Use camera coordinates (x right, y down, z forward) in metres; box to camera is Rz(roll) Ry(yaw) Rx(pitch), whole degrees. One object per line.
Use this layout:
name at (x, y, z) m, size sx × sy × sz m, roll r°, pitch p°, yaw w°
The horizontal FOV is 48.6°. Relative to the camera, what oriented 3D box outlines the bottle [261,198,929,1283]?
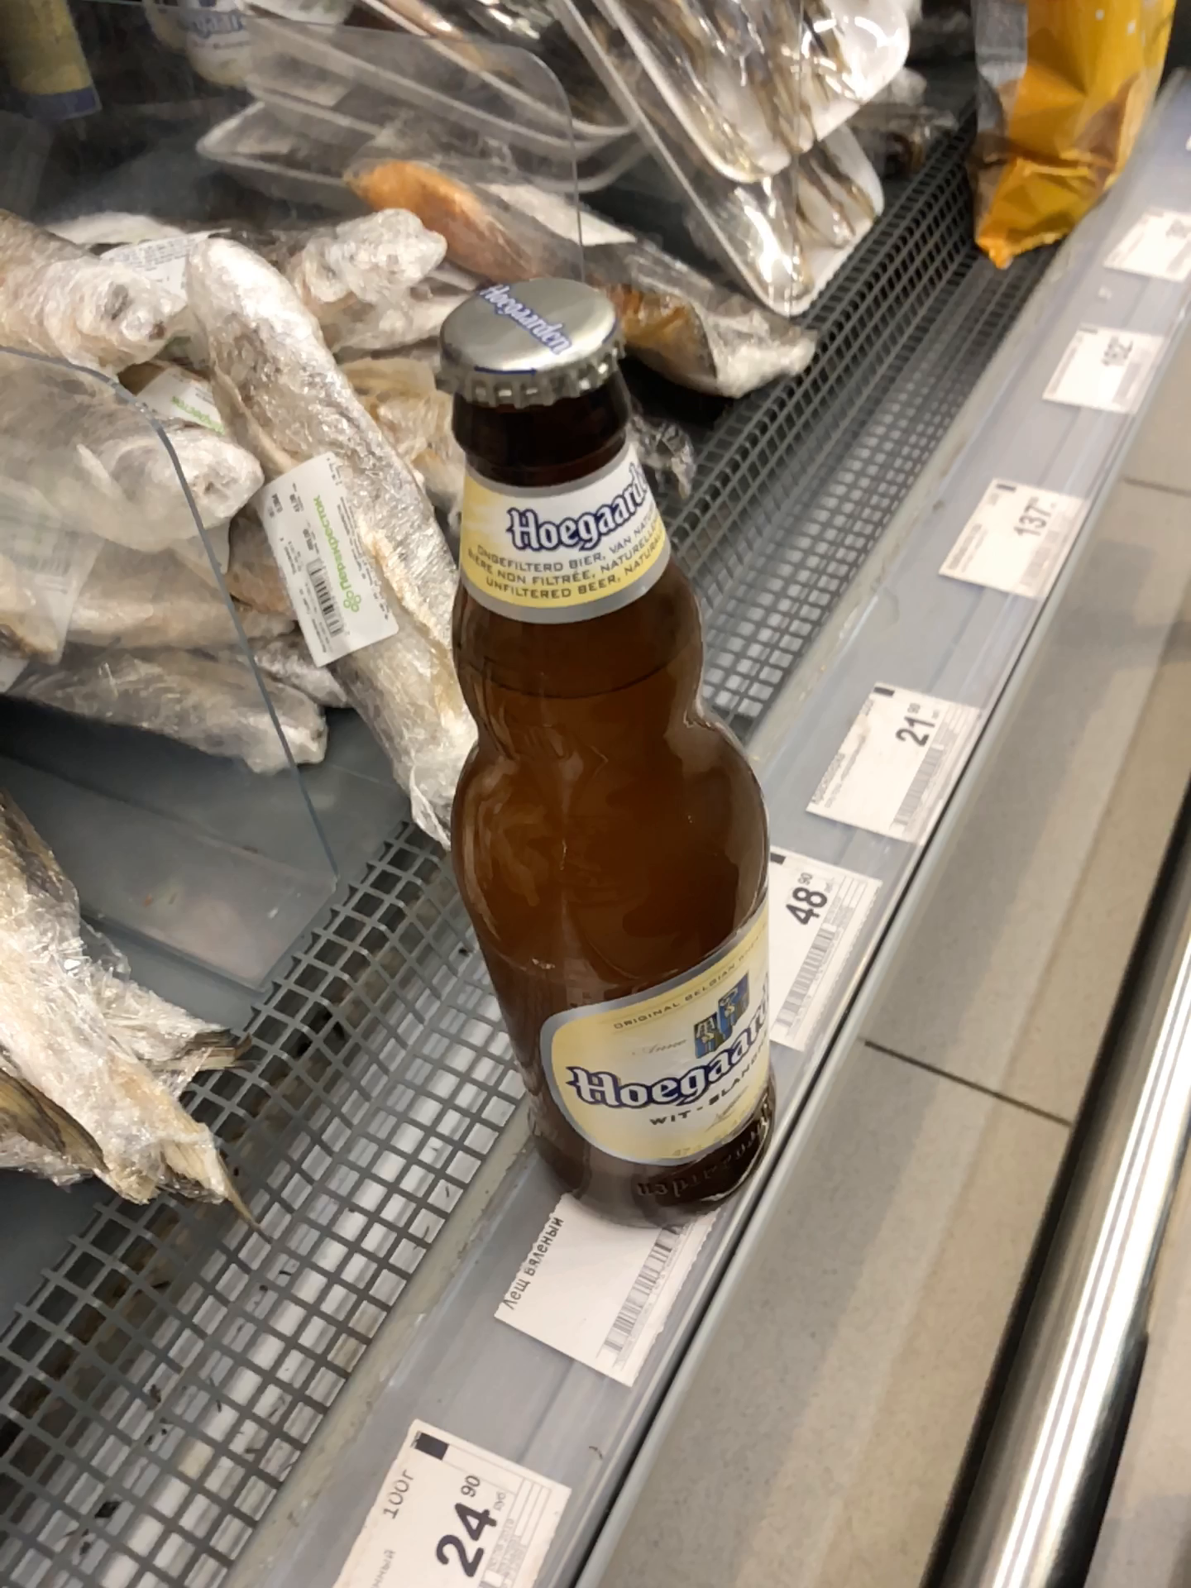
bottle at (0.009, 0.010, 0.280) m, size 0.070 × 0.229 × 0.070 m, roll -3°, pitch 48°, yaw 4°
